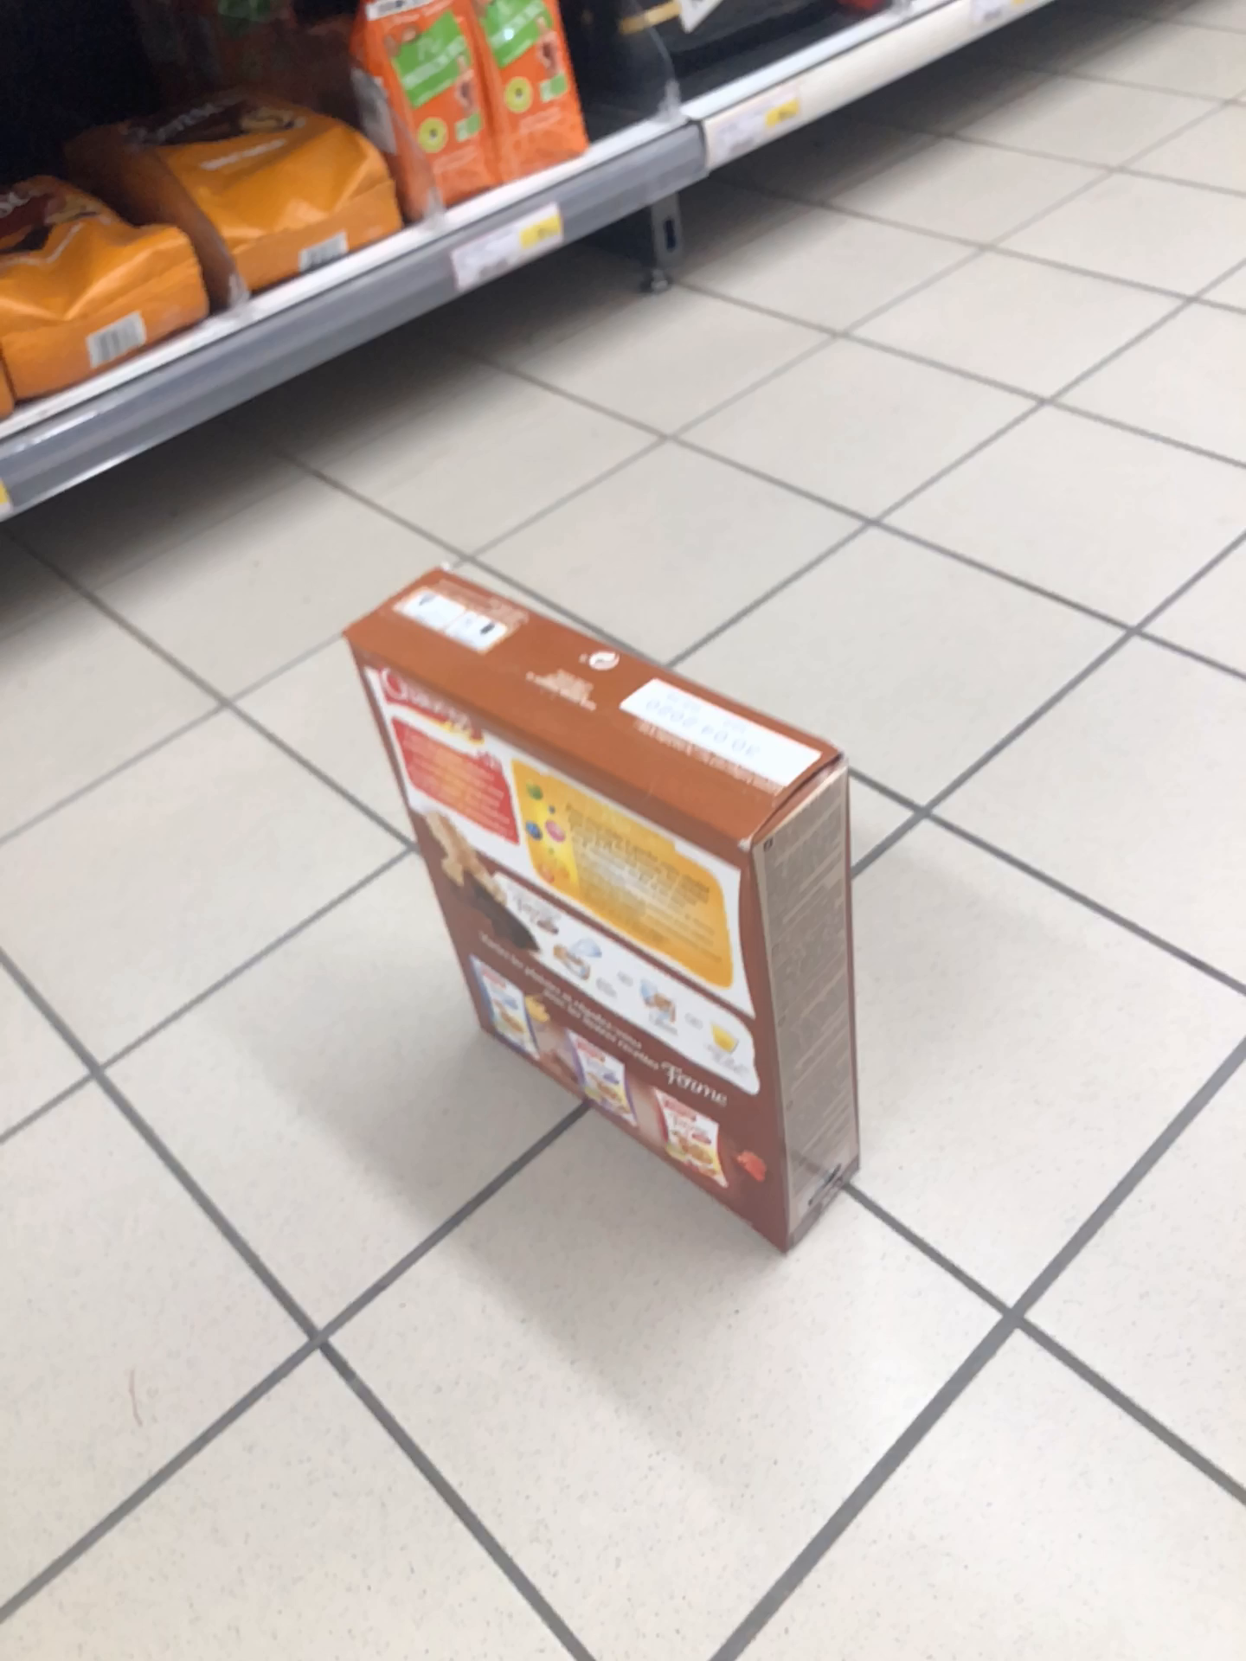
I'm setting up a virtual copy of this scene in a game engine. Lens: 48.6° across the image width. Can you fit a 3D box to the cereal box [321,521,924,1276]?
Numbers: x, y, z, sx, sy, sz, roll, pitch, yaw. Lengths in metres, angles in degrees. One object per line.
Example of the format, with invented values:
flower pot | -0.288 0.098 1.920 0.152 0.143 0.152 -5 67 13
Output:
cereal box | 0.007 0.030 0.548 0.210 0.249 0.070 28 55 33
